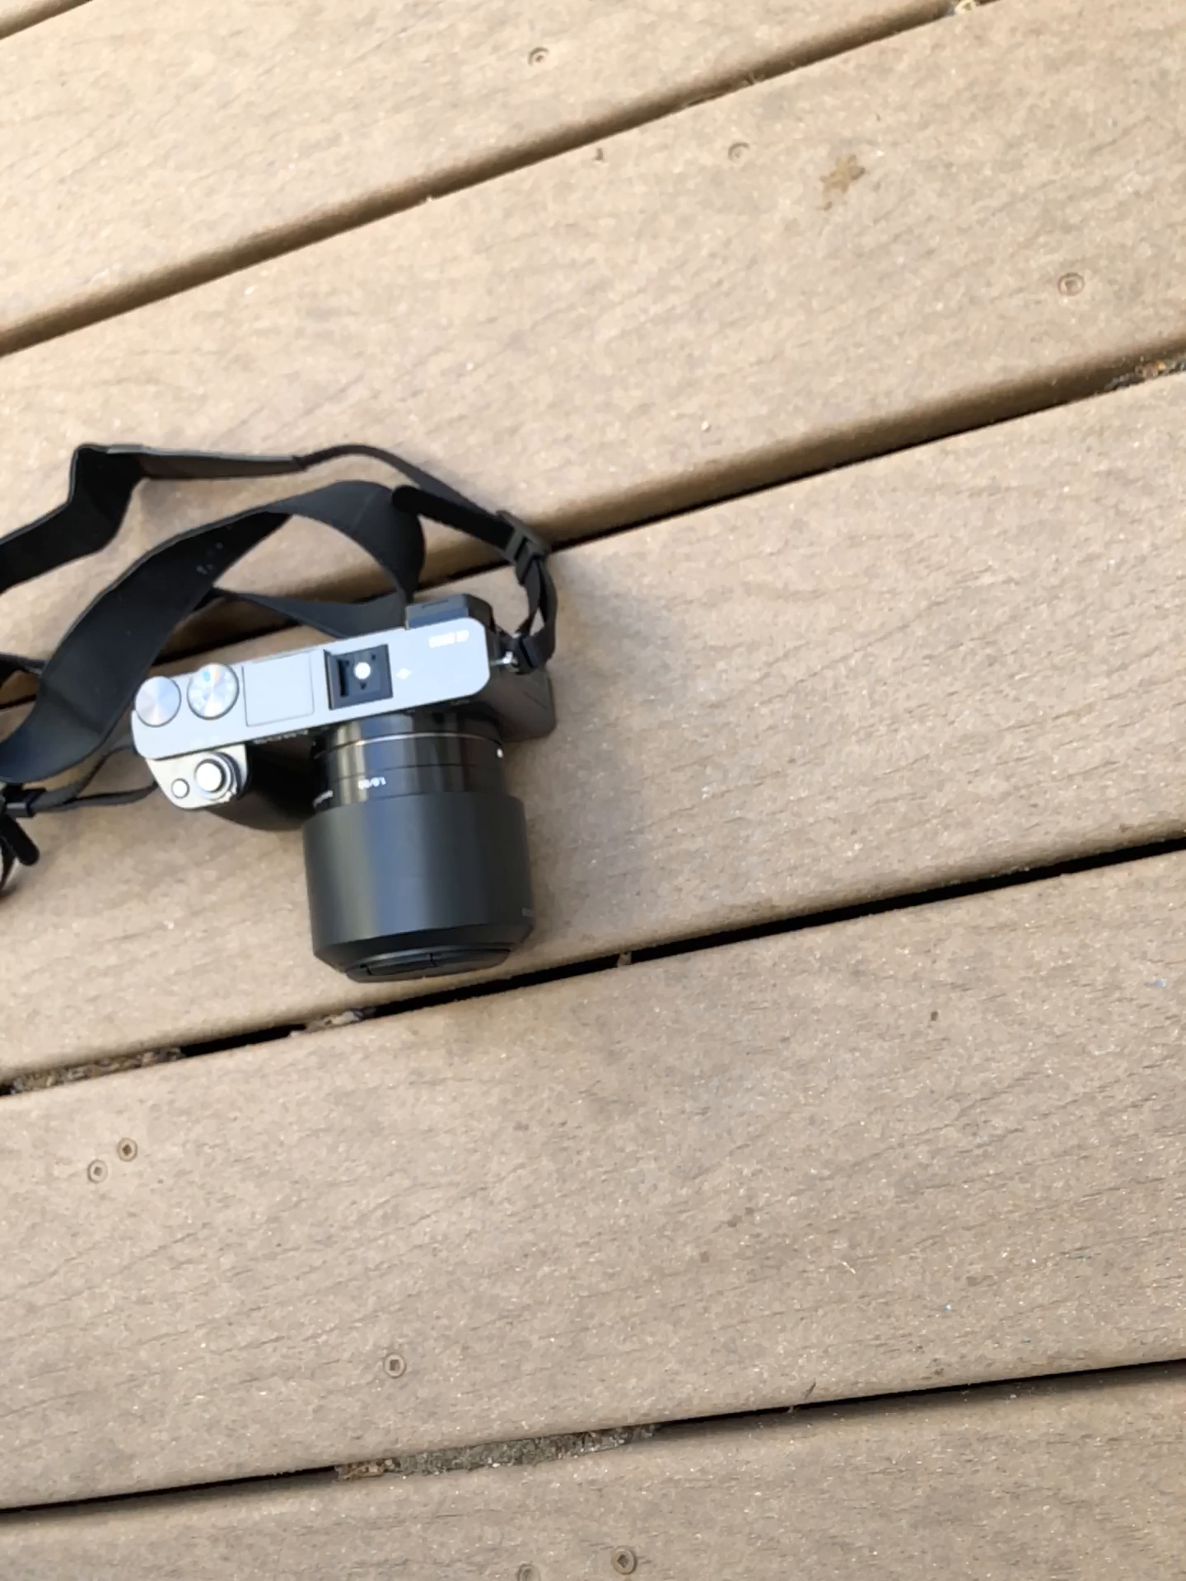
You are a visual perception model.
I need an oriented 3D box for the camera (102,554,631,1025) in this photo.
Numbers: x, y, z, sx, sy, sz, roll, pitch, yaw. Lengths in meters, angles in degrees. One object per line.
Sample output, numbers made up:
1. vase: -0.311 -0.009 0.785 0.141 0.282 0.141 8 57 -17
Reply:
1. camera: -0.067 0.006 0.397 0.130 0.070 0.110 -11 77 13
